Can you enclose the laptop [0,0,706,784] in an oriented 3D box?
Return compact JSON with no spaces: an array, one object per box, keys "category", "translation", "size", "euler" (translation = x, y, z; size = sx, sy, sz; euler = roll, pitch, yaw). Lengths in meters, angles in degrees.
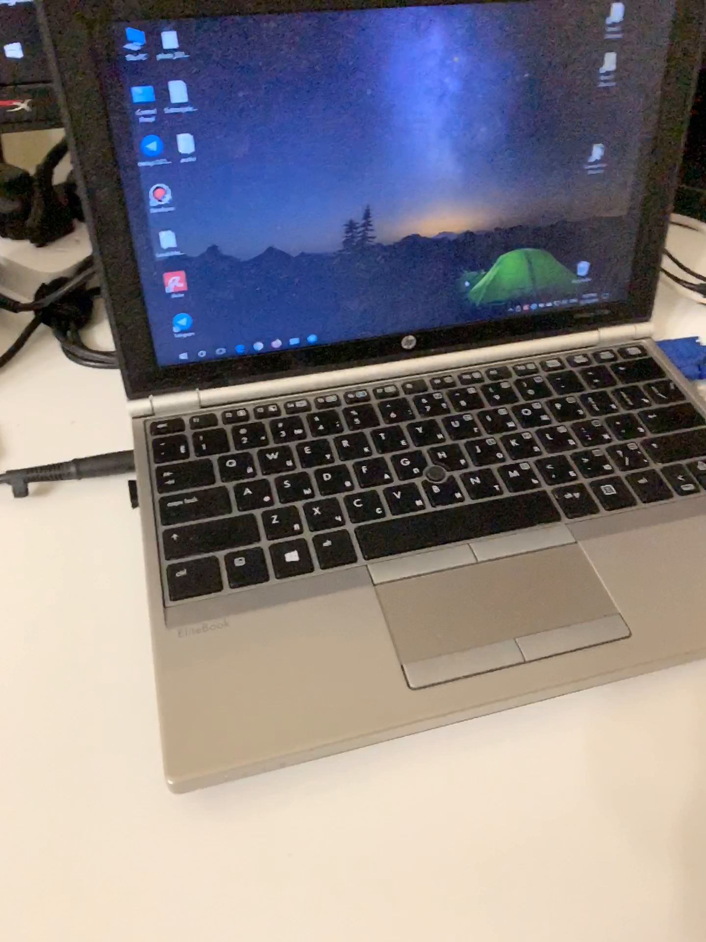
[{"category":"laptop","translation":[0.049,-0.064,0.275],"size":[0.284,0.176,0.227],"euler":[-10,48,-12]}]
